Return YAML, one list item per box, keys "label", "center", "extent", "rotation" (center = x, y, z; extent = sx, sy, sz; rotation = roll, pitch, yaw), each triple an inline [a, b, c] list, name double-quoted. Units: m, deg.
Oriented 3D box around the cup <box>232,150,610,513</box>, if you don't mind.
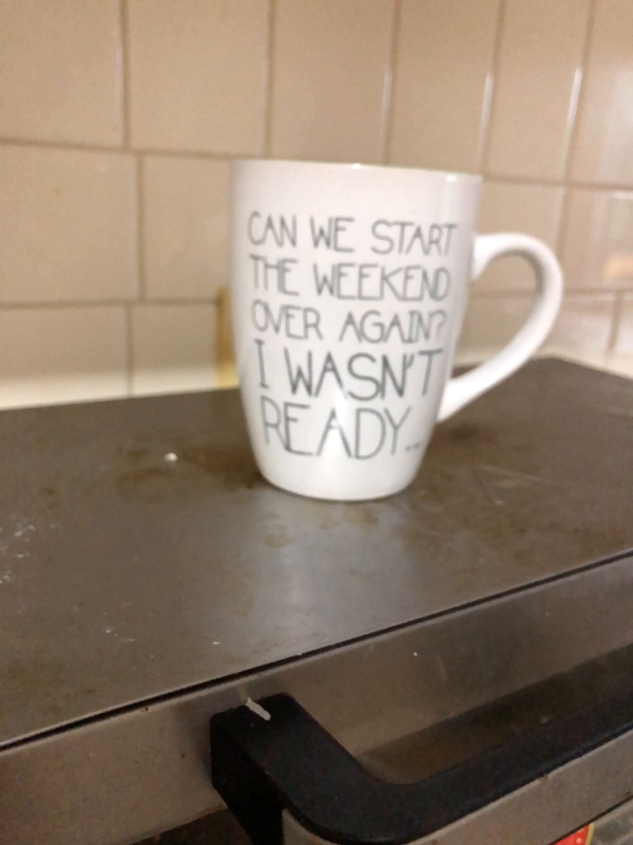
- label: "cup"
  center: [0.027, -0.033, 0.258]
  extent: [0.110, 0.110, 0.070]
  rotation: [1, 17, -8]
